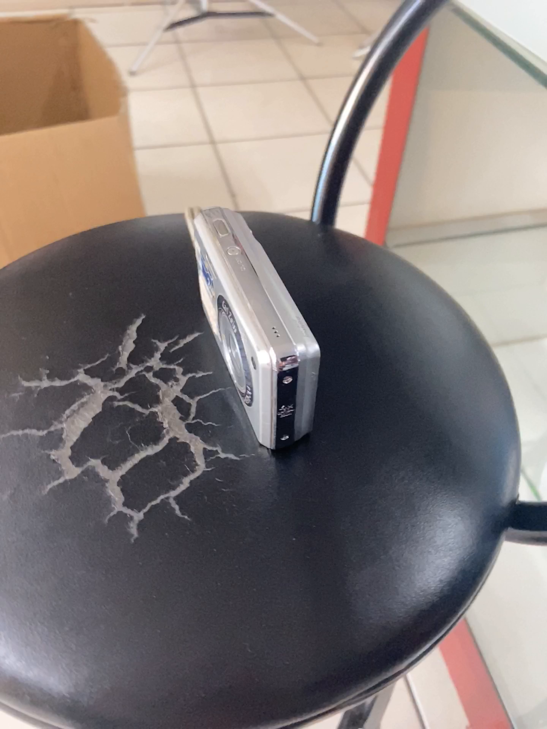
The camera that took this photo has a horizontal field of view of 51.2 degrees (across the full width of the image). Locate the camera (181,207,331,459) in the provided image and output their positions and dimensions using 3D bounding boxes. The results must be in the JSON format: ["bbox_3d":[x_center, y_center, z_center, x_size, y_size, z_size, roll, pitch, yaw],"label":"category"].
[{"bbox_3d":[-0.011,-0.016,0.226,0.026,0.044,0.093,-14,50,-15],"label":"camera"}]
